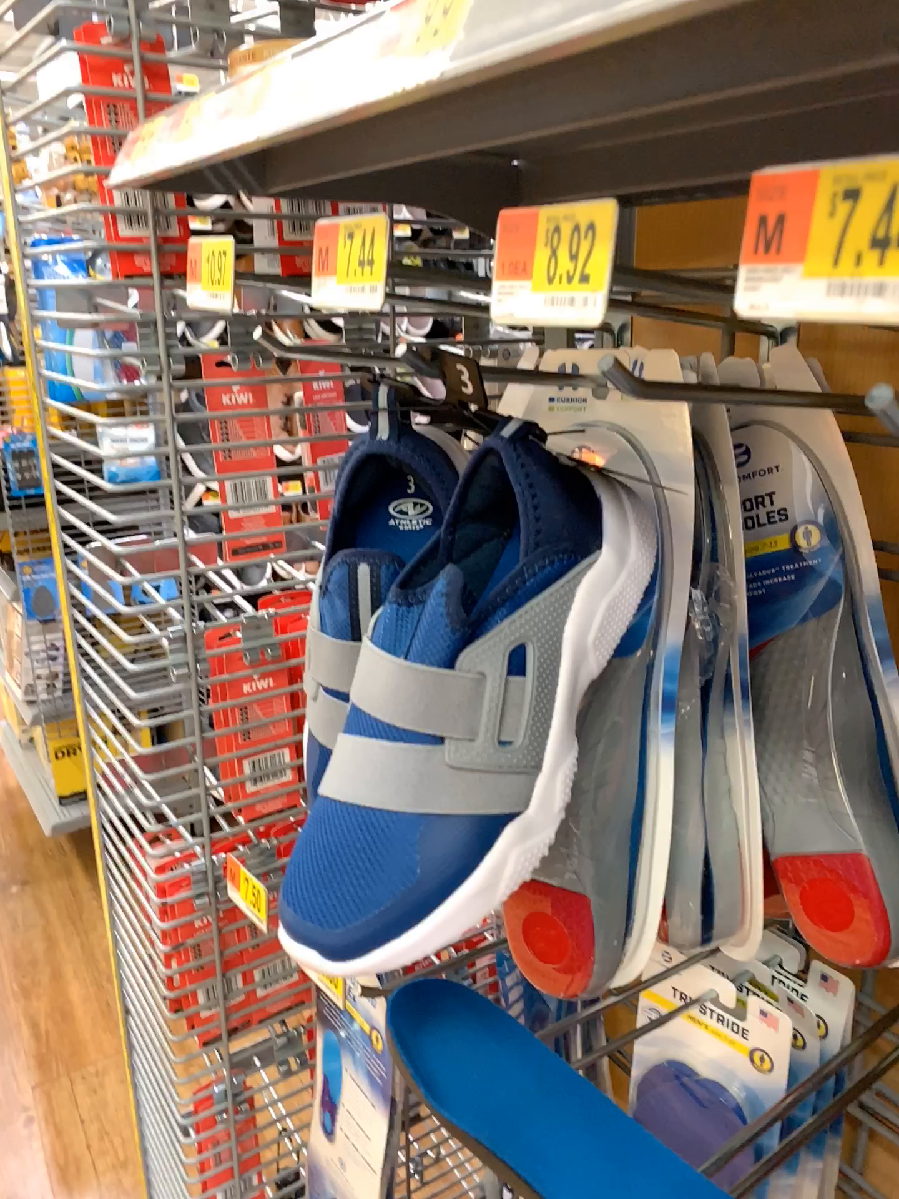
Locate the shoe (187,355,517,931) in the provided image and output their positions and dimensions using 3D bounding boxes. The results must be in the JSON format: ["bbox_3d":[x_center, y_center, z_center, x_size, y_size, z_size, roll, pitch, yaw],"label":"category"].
[{"bbox_3d":[-0.037,0.018,0.447,0.095,0.246,0.098,4,-11,17],"label":"shoe"}]

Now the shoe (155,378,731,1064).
[{"bbox_3d":[0.004,0.040,0.368,0.101,0.233,0.098,17,-15,44],"label":"shoe"}]
